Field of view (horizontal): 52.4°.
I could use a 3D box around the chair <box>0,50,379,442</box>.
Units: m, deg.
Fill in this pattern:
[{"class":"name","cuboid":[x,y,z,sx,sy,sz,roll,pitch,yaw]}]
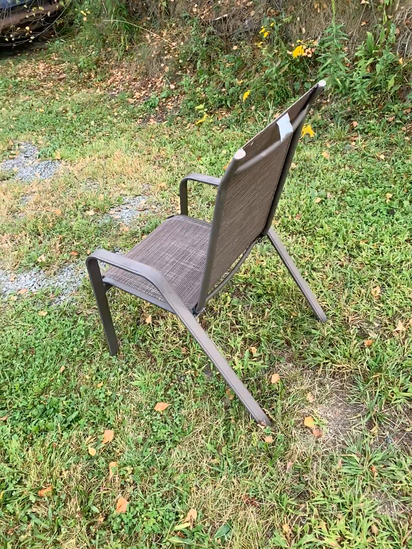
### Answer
[{"class":"chair","cuboid":[-0.005,-0.121,1.324,0.742,0.875,0.622,20,47,26]}]
